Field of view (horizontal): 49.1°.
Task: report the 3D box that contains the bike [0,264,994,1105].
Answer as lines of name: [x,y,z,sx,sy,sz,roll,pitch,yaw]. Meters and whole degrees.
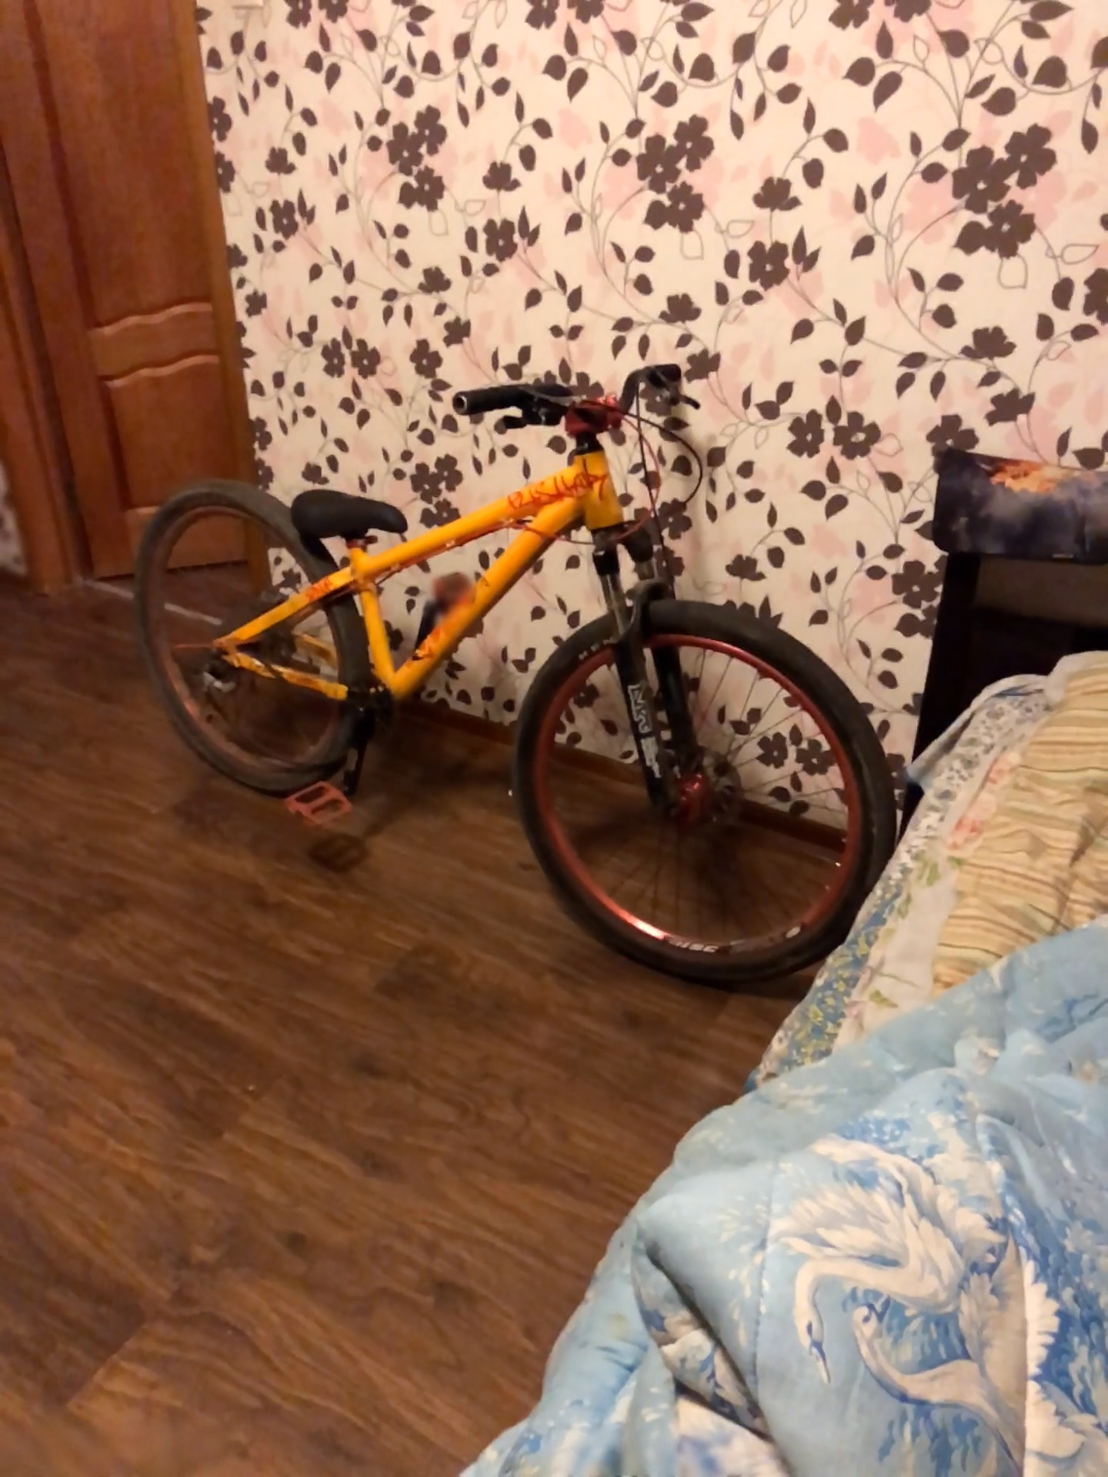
bike: [-0.229,-0.247,2.166,1.677,1.005,0.663,16,34,31]
